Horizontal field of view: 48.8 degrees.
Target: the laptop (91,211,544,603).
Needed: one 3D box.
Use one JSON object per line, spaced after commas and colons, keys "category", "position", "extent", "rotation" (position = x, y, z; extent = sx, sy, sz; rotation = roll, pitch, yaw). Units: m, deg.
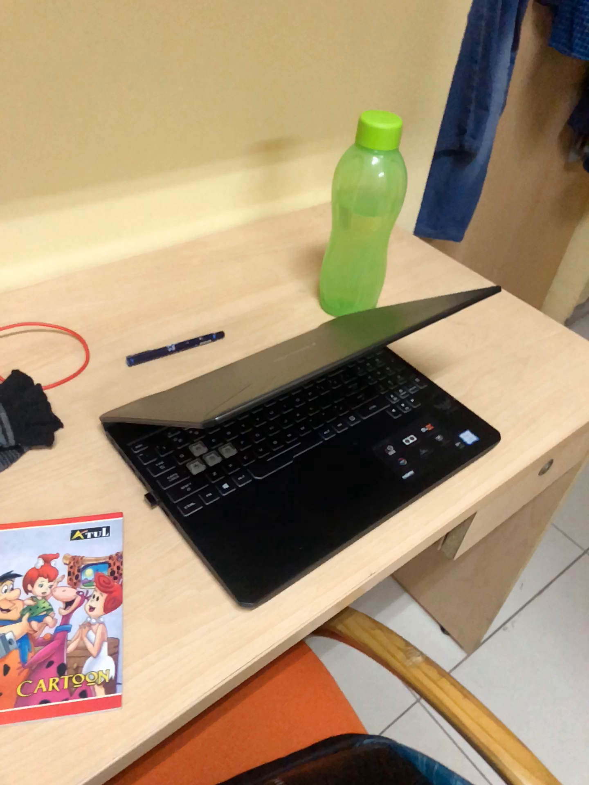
{"category": "laptop", "position": [0.023, -0.016, 0.647], "extent": [0.340, 0.147, 0.248], "rotation": [-26, 54, -31]}
